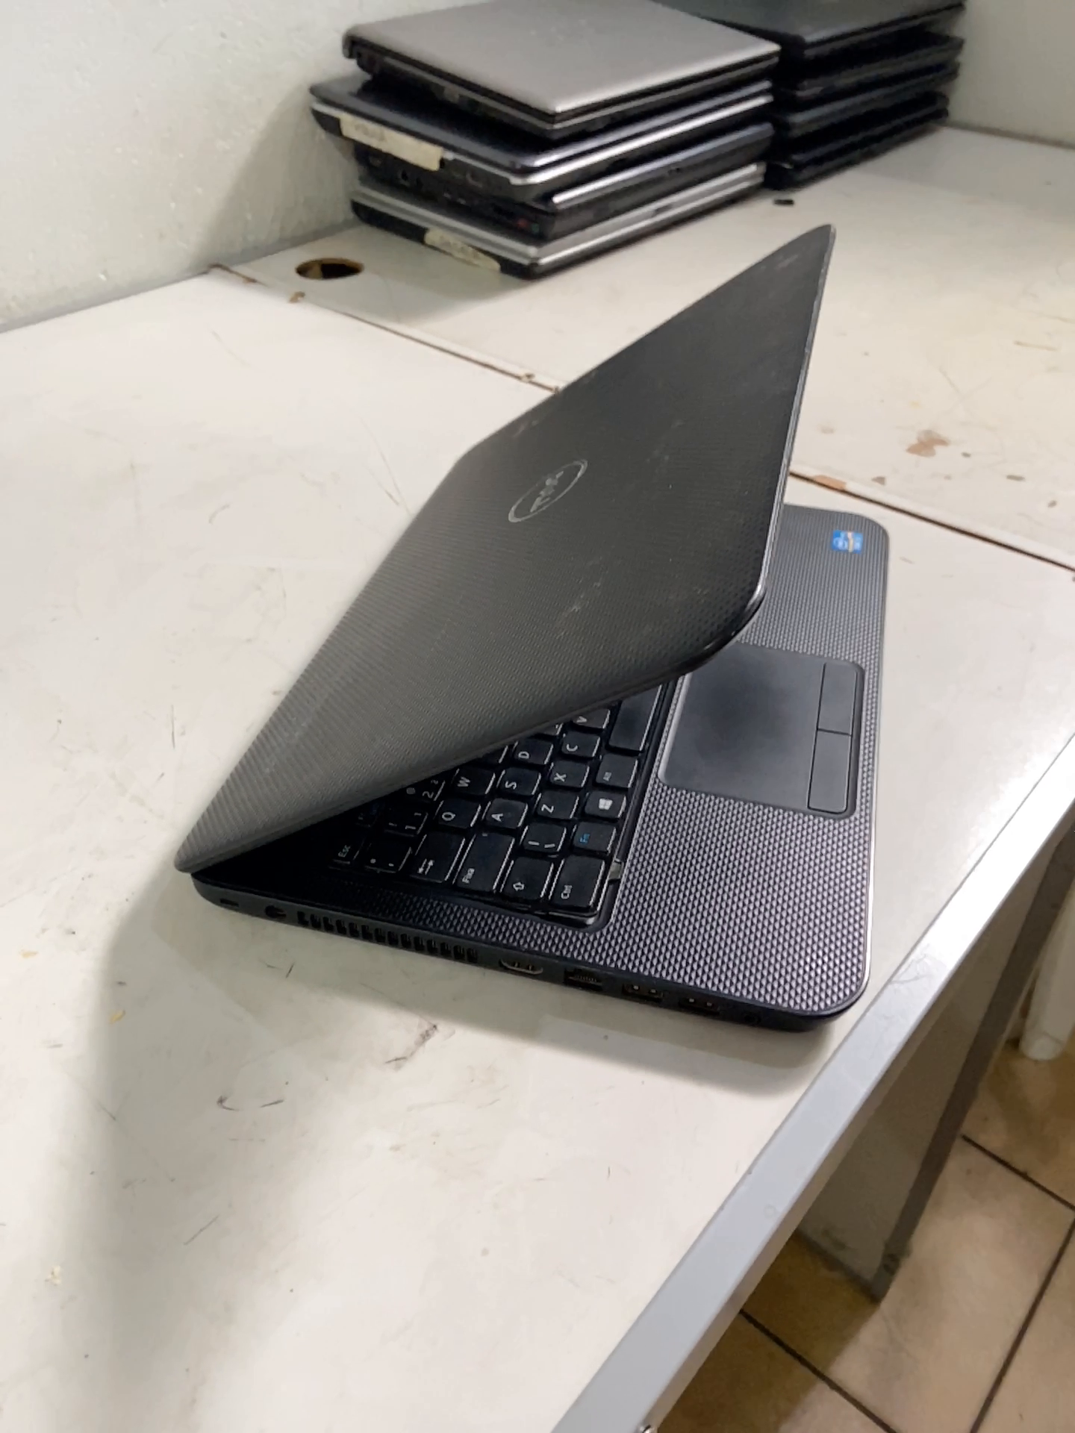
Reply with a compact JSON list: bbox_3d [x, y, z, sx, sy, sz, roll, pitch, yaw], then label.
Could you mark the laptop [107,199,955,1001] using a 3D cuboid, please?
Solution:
[{"bbox_3d":[0.032,-0.085,0.457,0.230,0.141,0.332,10,41,12],"label":"laptop"}]
